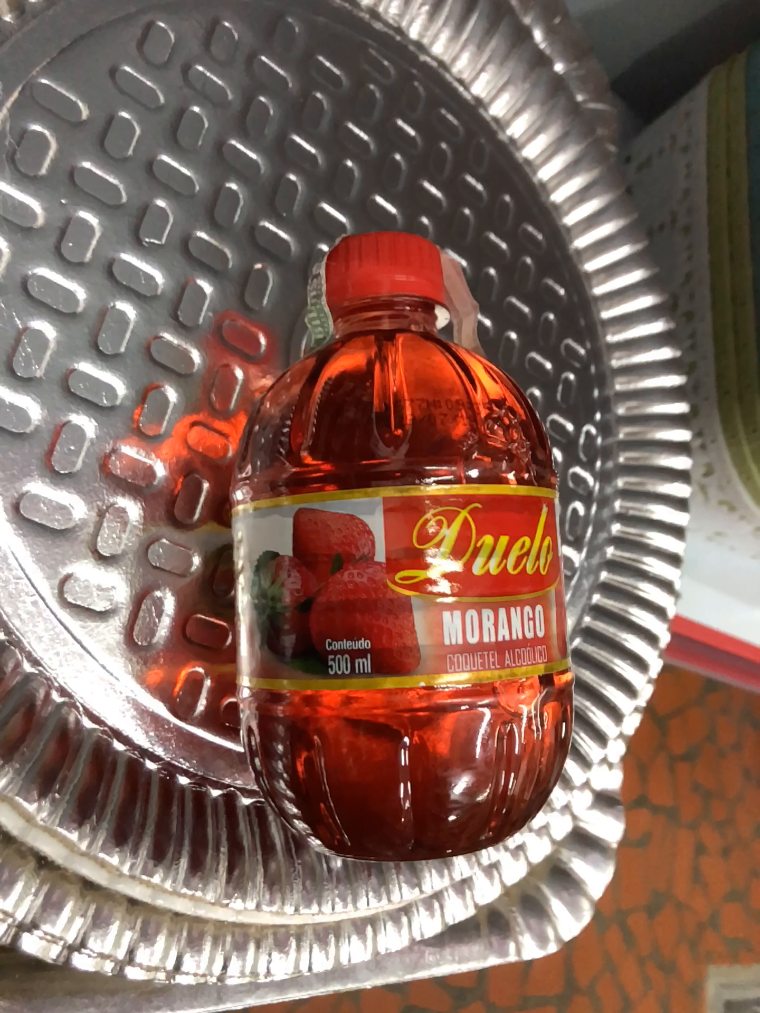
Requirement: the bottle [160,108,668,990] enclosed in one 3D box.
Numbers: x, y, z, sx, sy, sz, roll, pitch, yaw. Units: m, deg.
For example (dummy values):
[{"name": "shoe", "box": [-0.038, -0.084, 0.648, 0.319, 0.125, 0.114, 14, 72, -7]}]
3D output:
[{"name": "bottle", "box": [0.007, 0.008, 0.200, 0.091, 0.070, 0.150, 1, 84, -38]}]
